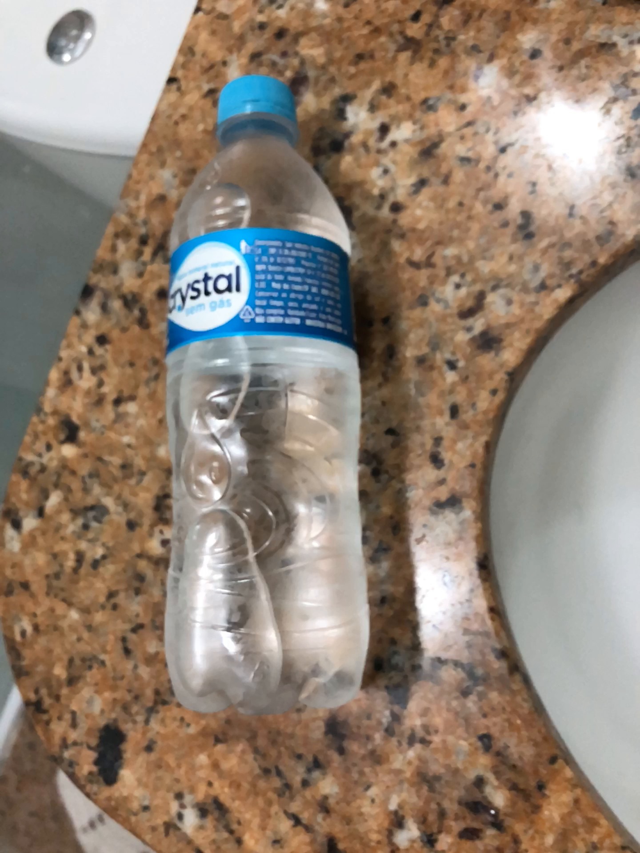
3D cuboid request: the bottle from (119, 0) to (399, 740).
[{"bbox_3d":[-0.021,-0.023,0.245,0.070,0.050,0.230,-7,76,21],"label":"bottle"}]
